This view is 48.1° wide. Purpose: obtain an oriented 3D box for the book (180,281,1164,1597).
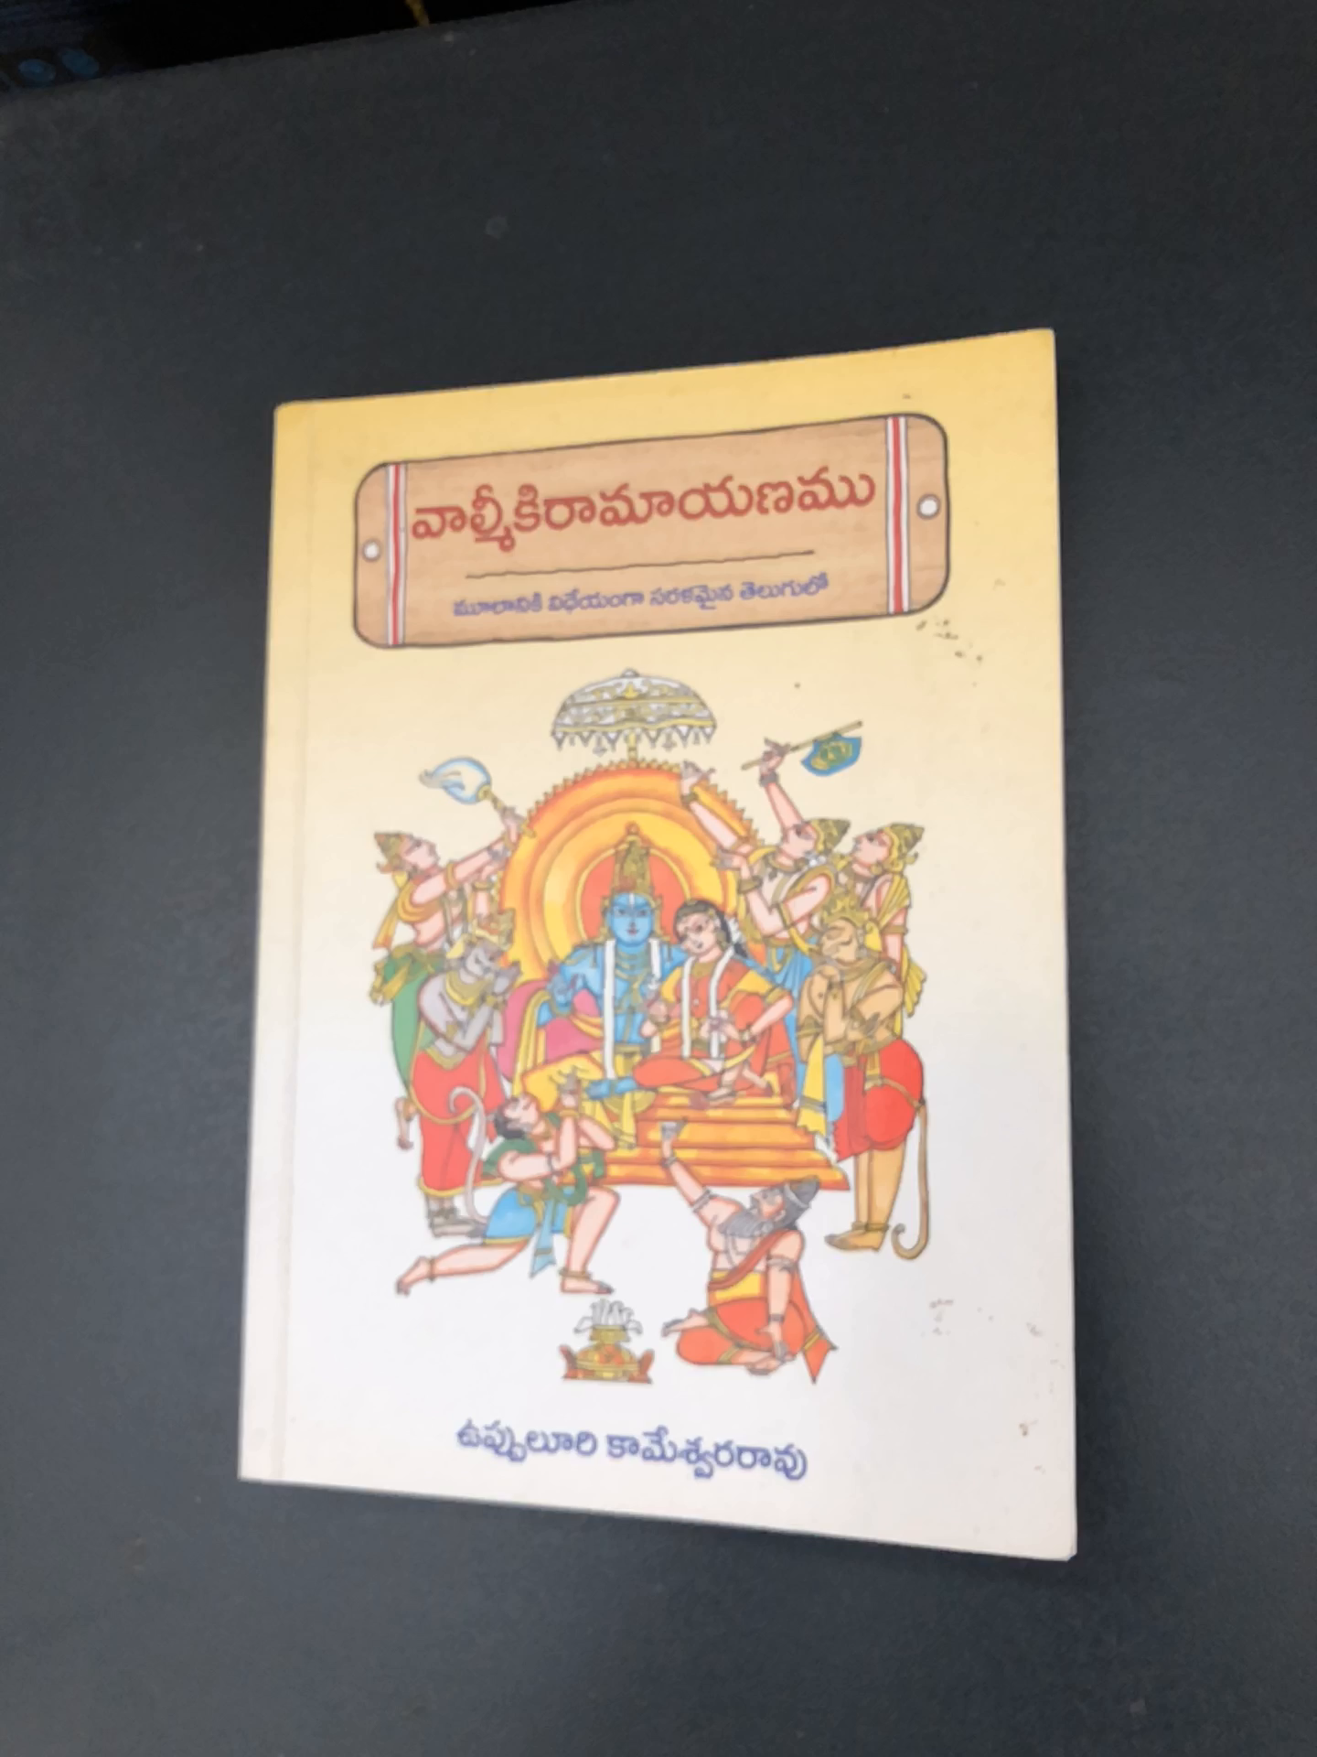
[{"bbox_3d":[0.000,0.007,0.300,0.190,0.020,0.240,0,84,13],"label":"book"}]
